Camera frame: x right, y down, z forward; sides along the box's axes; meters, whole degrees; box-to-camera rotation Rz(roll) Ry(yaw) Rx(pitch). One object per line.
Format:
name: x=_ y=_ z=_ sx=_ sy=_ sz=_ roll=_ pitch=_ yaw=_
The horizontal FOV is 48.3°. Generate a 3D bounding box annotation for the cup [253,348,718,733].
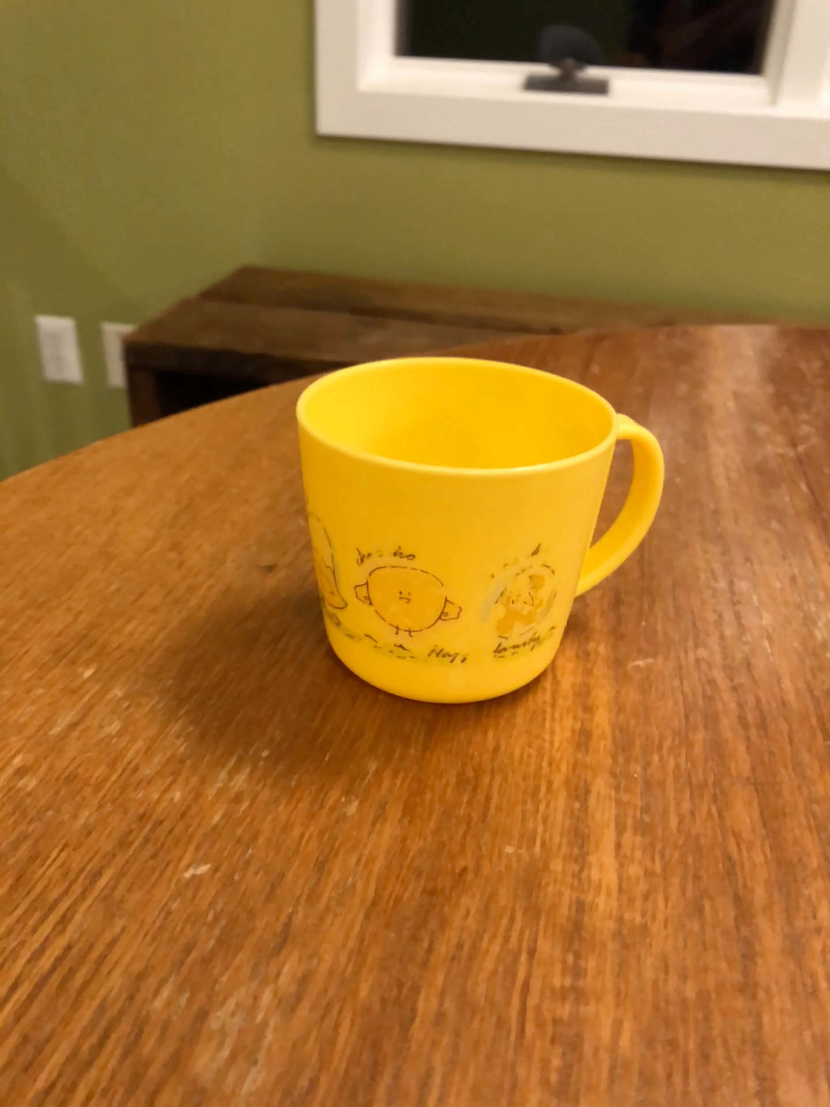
cup: x=0.013 y=-0.011 z=0.258 sx=0.098 sy=0.064 sz=0.081 roll=-9 pitch=31 yaw=-19
